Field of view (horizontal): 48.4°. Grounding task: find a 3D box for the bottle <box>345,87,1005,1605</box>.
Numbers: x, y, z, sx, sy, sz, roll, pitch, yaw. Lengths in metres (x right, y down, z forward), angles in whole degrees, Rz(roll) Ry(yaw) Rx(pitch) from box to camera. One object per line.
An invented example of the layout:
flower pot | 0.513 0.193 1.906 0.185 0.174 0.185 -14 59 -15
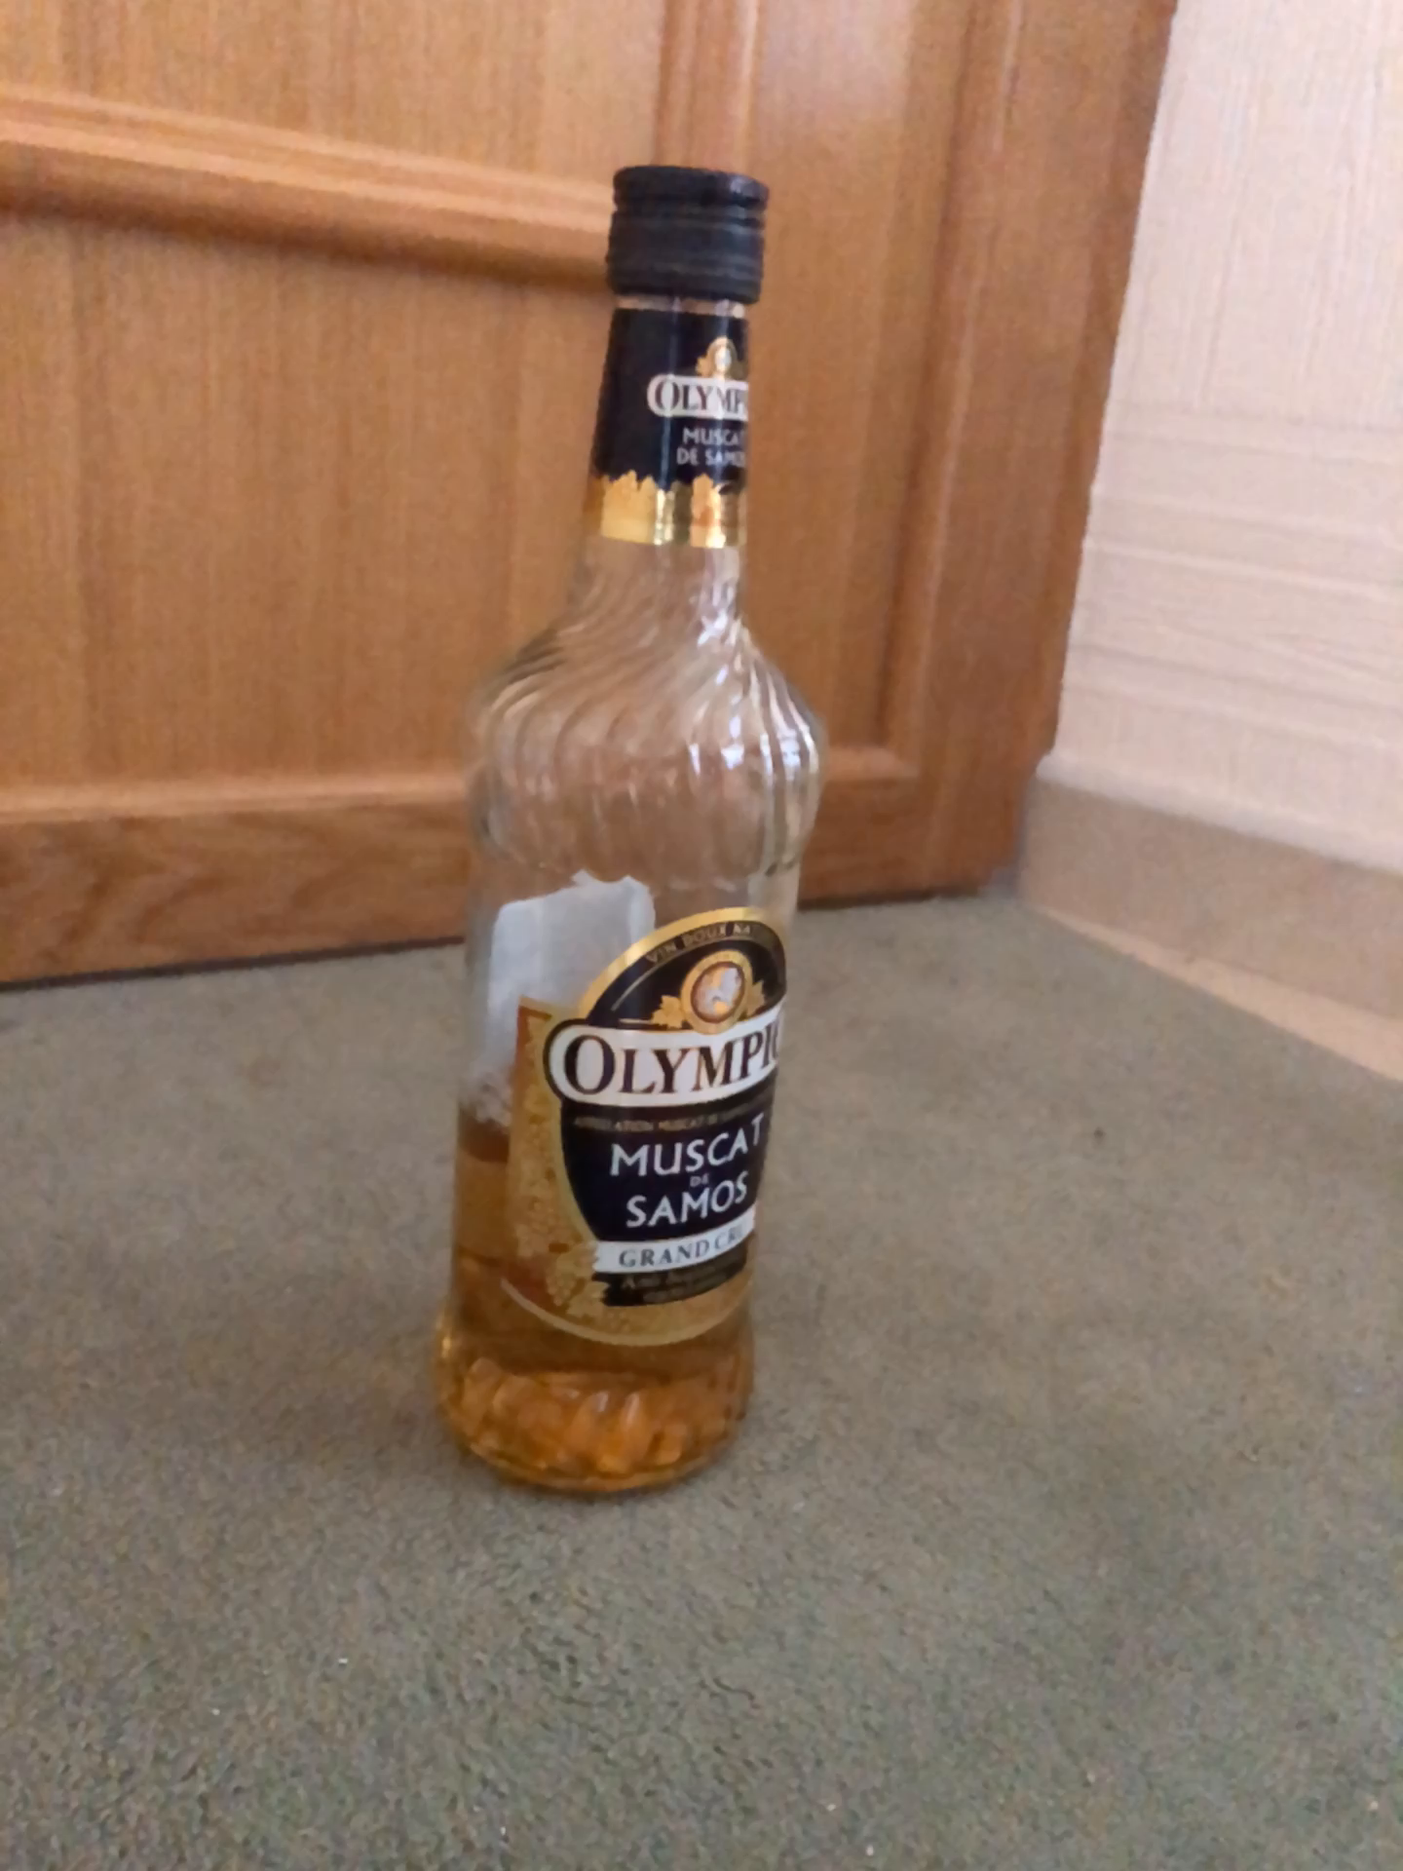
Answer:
bottle | -0.019 -0.013 0.344 0.090 0.289 0.090 5 19 -2
